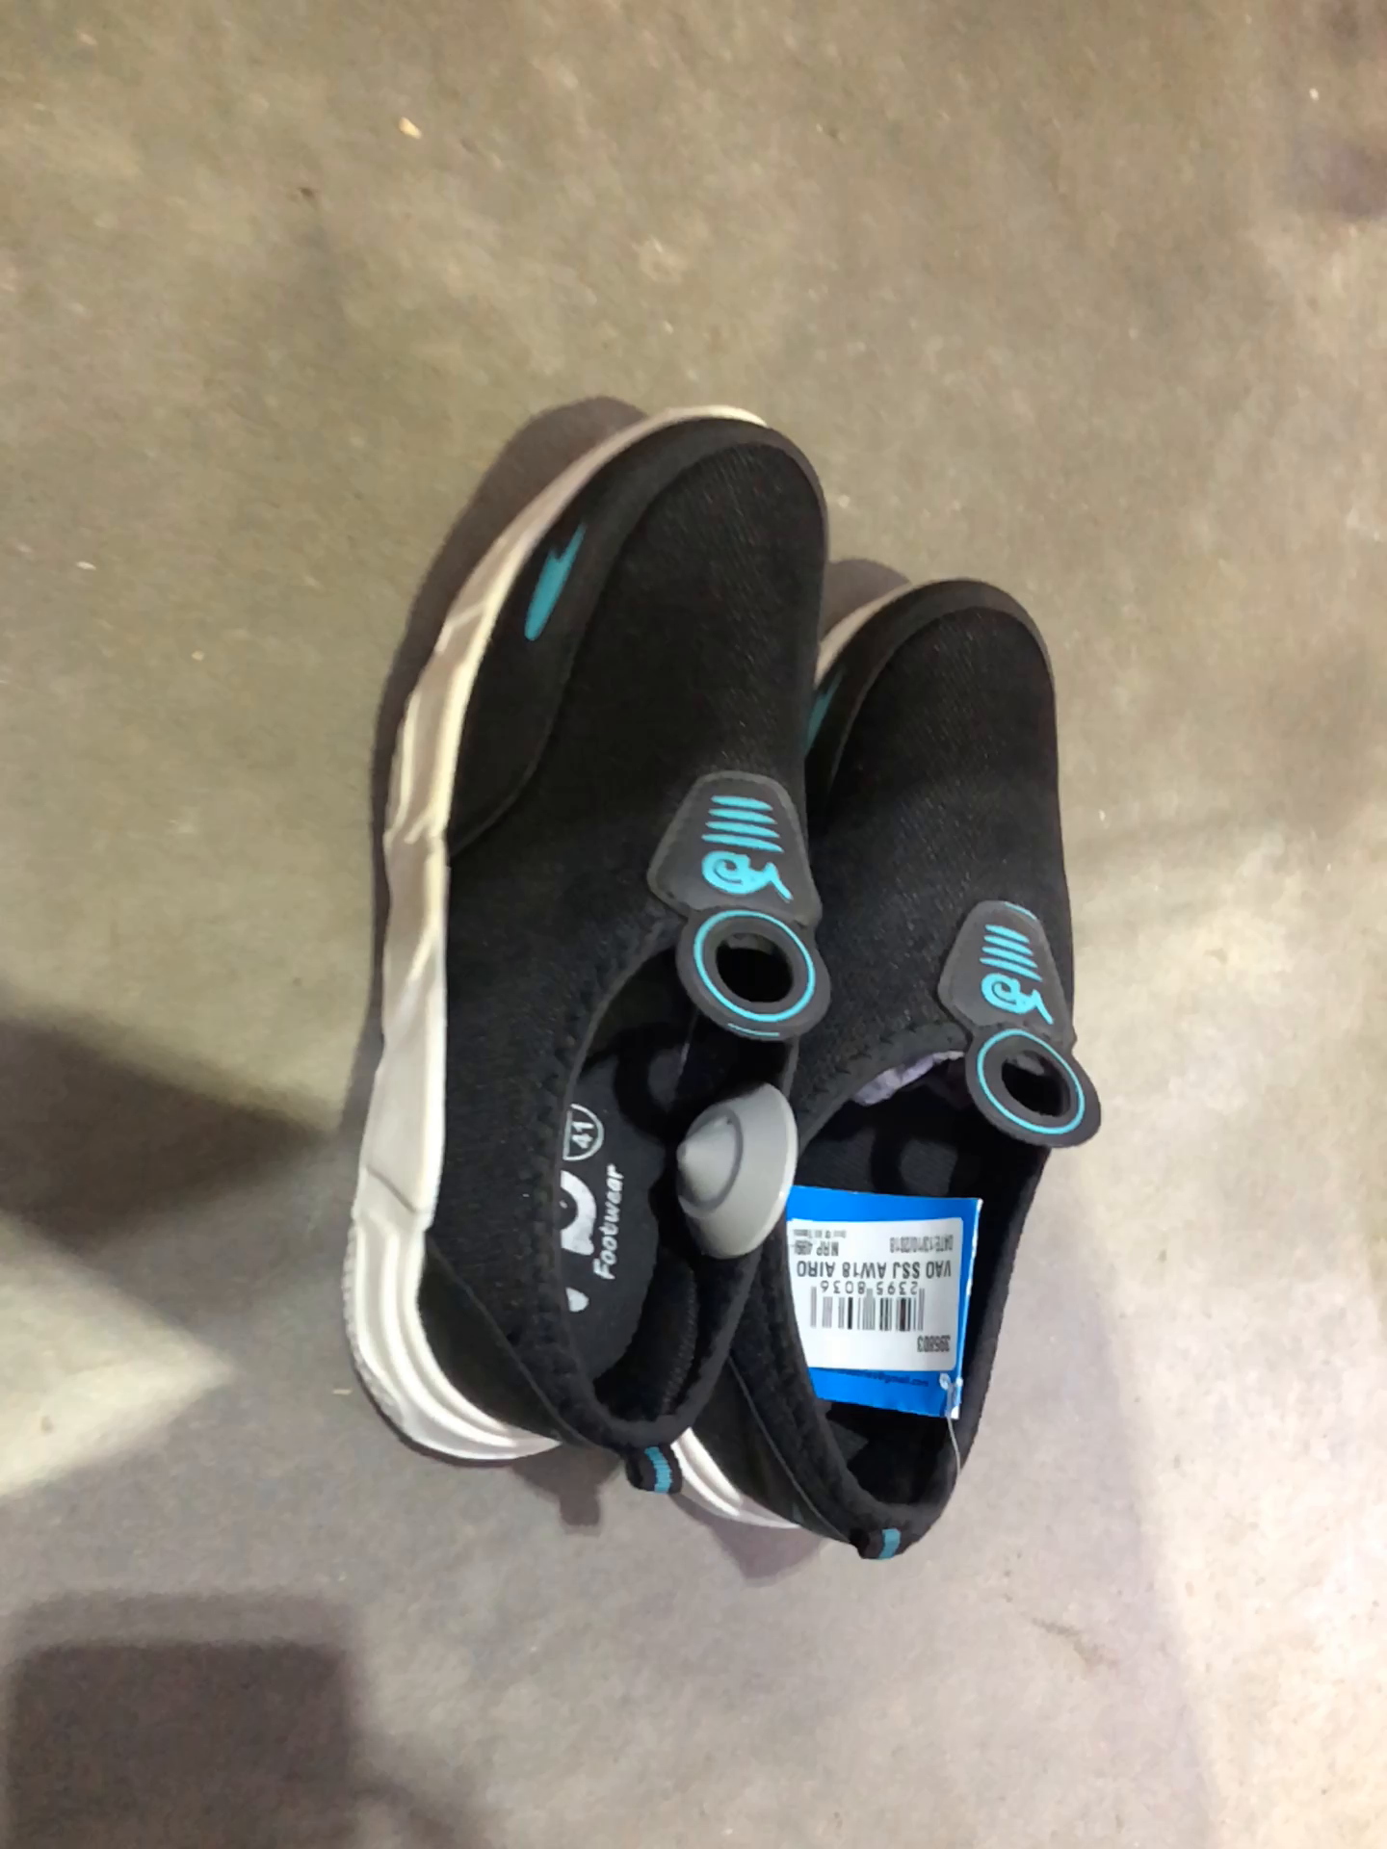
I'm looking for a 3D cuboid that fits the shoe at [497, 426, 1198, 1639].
[{"bbox_3d":[0.046,0.030,0.445,0.110,0.100,0.300,18,78,-25],"label":"shoe"}]

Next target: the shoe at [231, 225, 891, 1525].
[{"bbox_3d":[-0.036,-0.007,0.413,0.110,0.100,0.300,11,81,-26],"label":"shoe"}]
